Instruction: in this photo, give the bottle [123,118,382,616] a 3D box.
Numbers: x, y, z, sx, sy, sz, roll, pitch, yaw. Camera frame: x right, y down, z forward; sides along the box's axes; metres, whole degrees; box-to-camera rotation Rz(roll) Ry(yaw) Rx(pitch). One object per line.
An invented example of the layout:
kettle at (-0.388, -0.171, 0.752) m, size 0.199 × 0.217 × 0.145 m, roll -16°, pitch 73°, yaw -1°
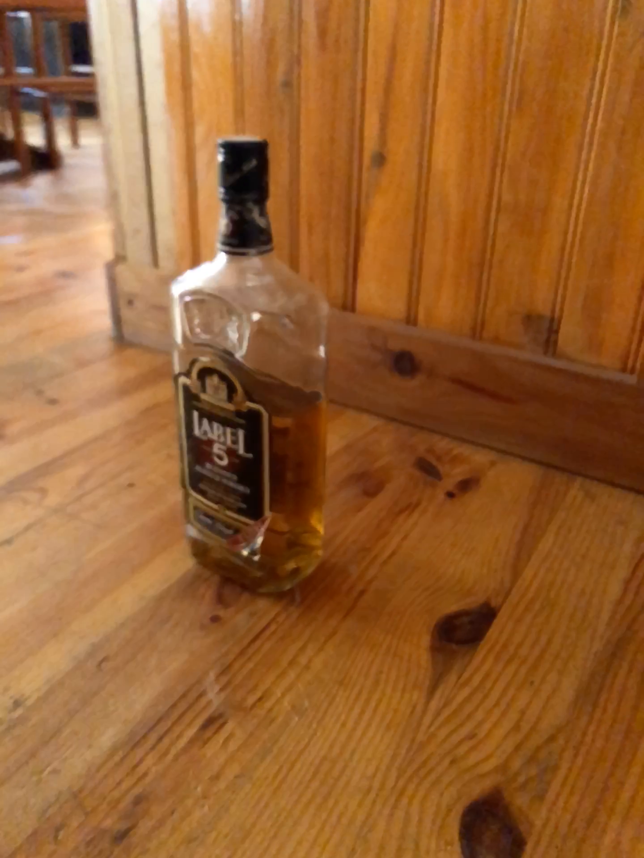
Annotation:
bottle at (-0.042, -0.038, 0.466) m, size 0.120 × 0.288 × 0.080 m, roll 20°, pitch 33°, yaw 32°
